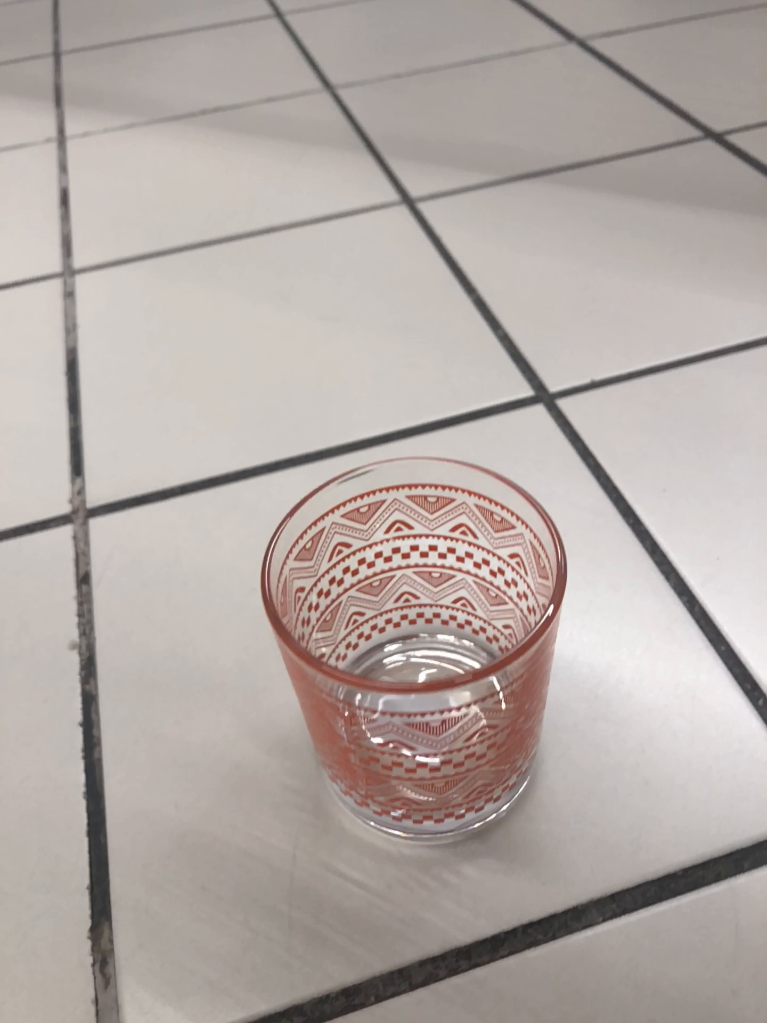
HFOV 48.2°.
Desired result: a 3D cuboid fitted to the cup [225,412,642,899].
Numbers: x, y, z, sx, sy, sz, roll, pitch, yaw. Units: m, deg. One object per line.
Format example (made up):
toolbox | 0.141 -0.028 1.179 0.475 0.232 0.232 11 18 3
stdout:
cup | 0.009 0.037 0.231 0.078 0.078 0.084 -3 45 3
